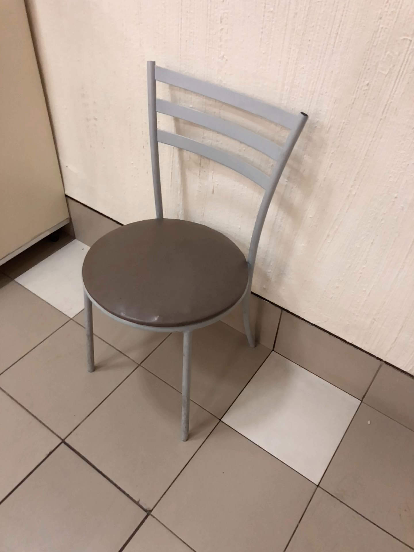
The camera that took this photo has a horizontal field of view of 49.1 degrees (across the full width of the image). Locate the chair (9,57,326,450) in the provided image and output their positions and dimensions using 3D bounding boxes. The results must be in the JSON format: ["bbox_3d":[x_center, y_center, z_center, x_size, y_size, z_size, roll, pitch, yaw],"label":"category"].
[{"bbox_3d":[-0.077,-0.034,1.122,0.431,0.764,0.423,27,48,23],"label":"chair"}]
